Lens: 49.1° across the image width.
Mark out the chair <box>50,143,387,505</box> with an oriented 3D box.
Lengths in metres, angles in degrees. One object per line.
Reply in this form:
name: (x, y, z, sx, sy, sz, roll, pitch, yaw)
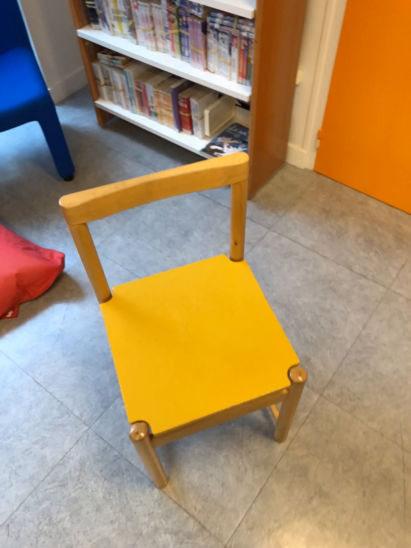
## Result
chair: (0.002, 0.153, 1.028, 0.451, 0.668, 0.421, -17, 54, -11)
